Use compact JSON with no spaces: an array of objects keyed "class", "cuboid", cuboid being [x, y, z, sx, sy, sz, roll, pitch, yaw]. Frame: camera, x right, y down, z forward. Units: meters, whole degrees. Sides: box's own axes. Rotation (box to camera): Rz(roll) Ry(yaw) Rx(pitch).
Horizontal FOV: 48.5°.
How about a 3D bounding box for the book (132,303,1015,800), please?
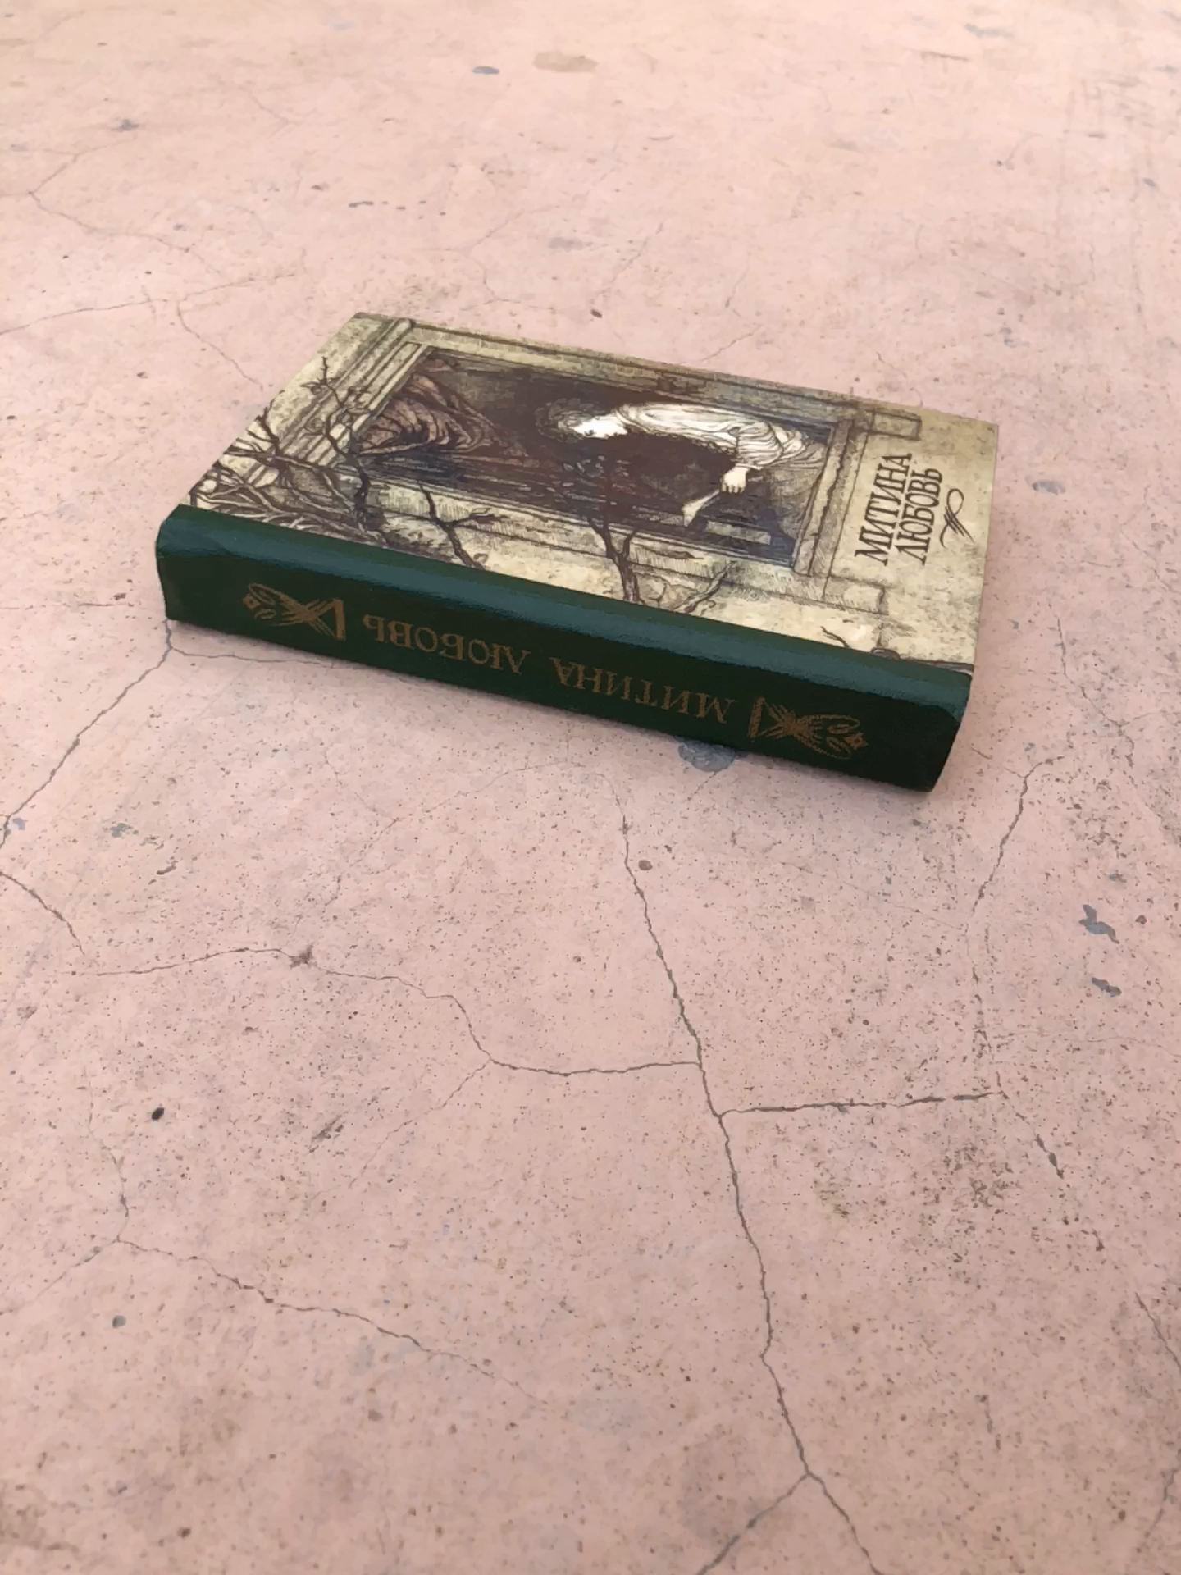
[{"class":"book","cuboid":[0.005,-0.077,0.370,0.213,0.035,0.135,12,44,9]}]
